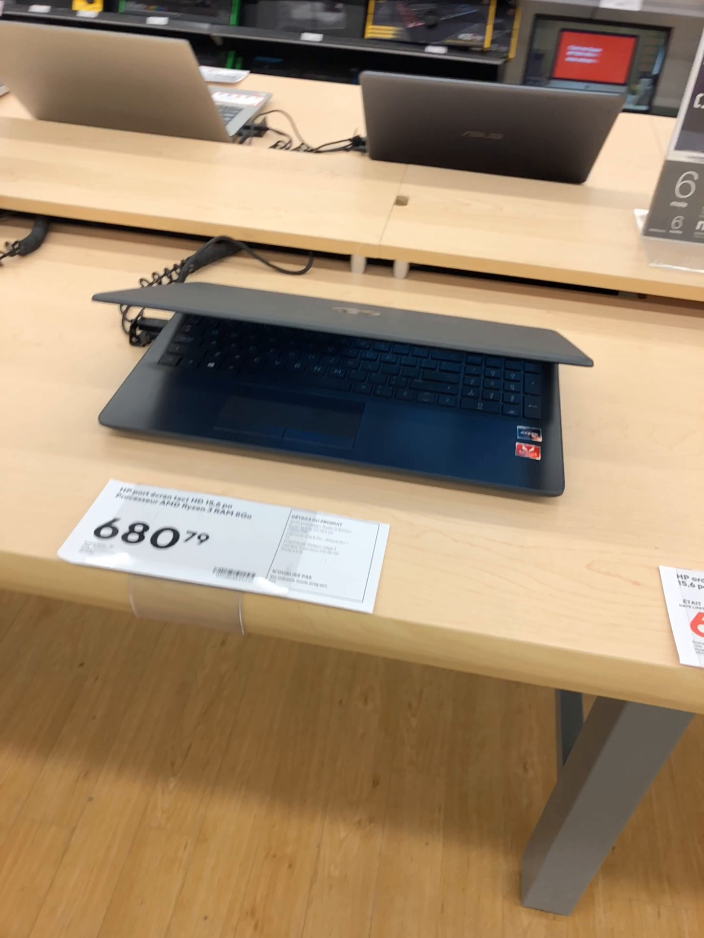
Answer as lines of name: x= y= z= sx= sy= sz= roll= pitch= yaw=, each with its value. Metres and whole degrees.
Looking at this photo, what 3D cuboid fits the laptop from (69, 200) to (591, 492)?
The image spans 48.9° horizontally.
laptop: x=0.001 y=-0.118 z=0.656 sx=0.366 sy=0.090 sz=0.243 roll=9 pitch=40 yaw=4
